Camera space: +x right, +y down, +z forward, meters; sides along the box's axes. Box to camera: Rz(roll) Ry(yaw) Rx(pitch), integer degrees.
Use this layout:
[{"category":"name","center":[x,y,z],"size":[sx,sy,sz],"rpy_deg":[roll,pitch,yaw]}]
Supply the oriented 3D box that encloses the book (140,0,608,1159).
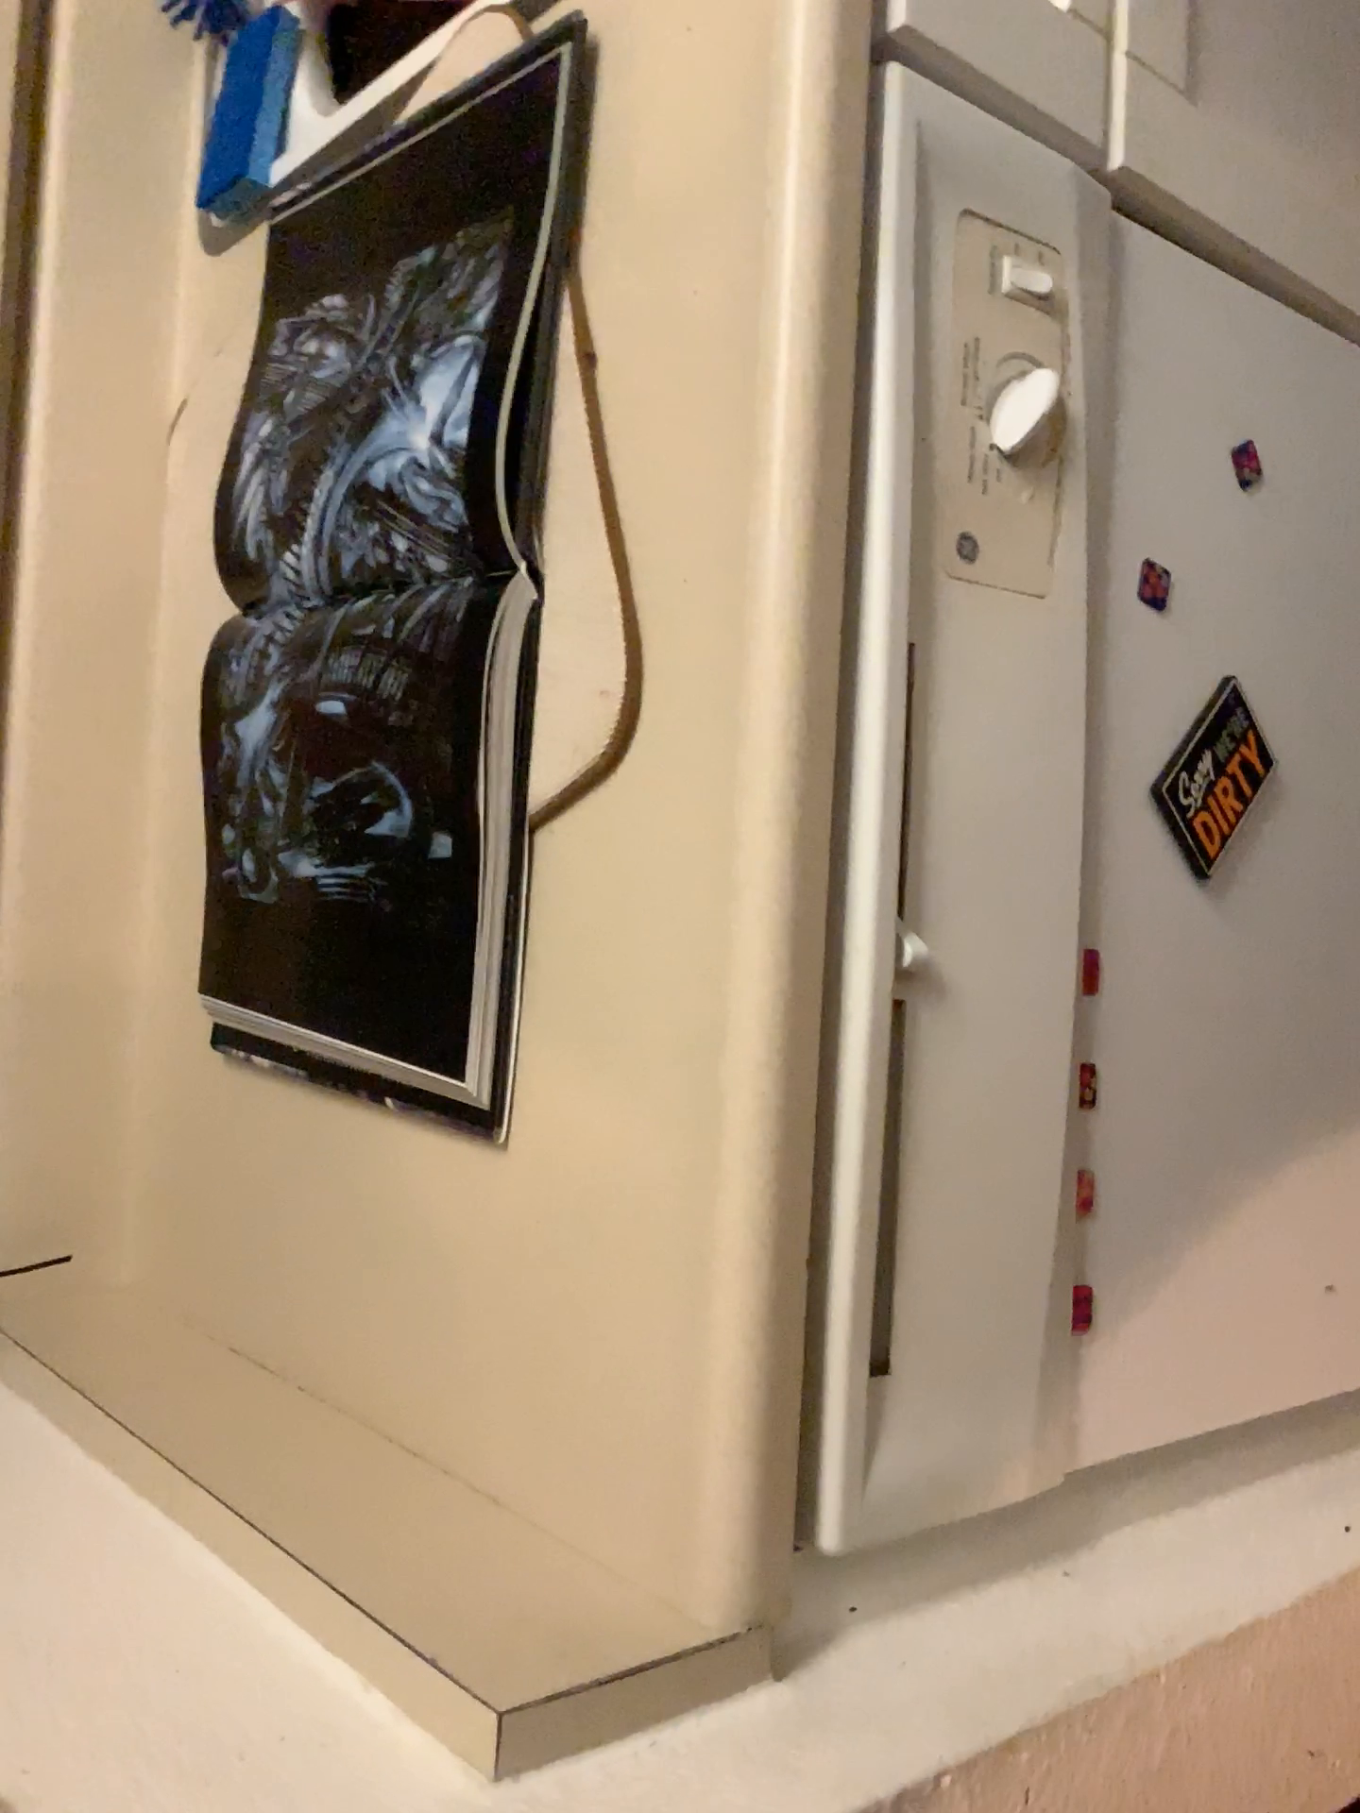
[{"category":"book","center":[-0.185,-0.163,0.813],"size":[0.350,0.040,0.530],"rpy_deg":[7,92,50]}]
